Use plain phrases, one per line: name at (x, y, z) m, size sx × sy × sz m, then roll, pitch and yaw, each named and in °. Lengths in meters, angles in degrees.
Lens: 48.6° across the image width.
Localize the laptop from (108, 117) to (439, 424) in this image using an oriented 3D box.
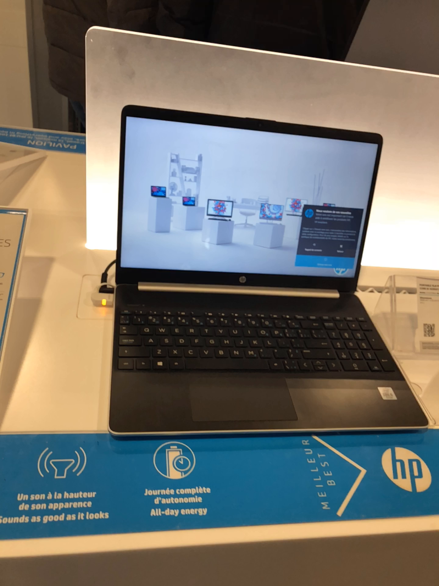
laptop at (0.056, -0.038, 0.562) m, size 0.336 × 0.206 × 0.317 m, roll 3°, pitch 35°, yaw -11°
